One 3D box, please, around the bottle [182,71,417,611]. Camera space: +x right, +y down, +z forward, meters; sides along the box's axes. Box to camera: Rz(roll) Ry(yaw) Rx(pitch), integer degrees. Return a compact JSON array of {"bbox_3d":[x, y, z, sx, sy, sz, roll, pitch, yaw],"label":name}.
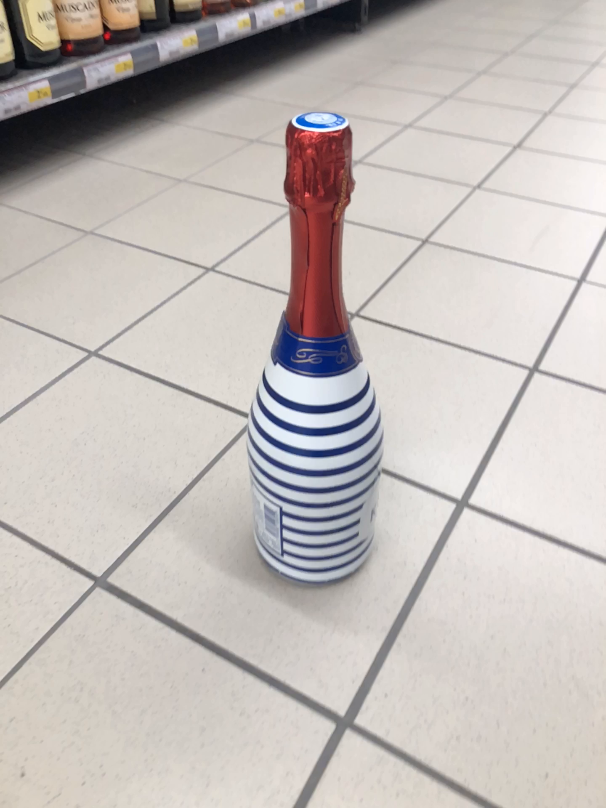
[{"bbox_3d":[-0.007,-0.017,0.397,0.090,0.308,0.101,-7,39,-8],"label":"bottle"}]
